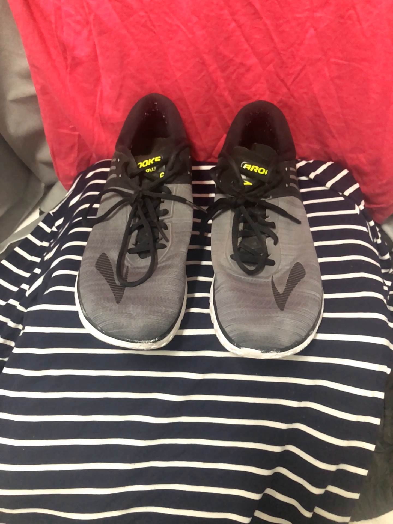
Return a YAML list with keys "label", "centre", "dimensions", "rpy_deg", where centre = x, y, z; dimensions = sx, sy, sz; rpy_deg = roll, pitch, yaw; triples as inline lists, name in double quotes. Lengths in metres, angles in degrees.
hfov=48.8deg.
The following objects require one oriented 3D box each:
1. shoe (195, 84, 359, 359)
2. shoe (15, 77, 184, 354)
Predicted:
- label: "shoe"
  centre: [0.052, -0.058, 0.397]
  dimensions: [0.104, 0.079, 0.282]
  rpy_deg: [1, 48, 0]
- label: "shoe"
  centre: [-0.066, -0.065, 0.403]
  dimensions: [0.102, 0.079, 0.292]
  rpy_deg: [0, 48, 0]
